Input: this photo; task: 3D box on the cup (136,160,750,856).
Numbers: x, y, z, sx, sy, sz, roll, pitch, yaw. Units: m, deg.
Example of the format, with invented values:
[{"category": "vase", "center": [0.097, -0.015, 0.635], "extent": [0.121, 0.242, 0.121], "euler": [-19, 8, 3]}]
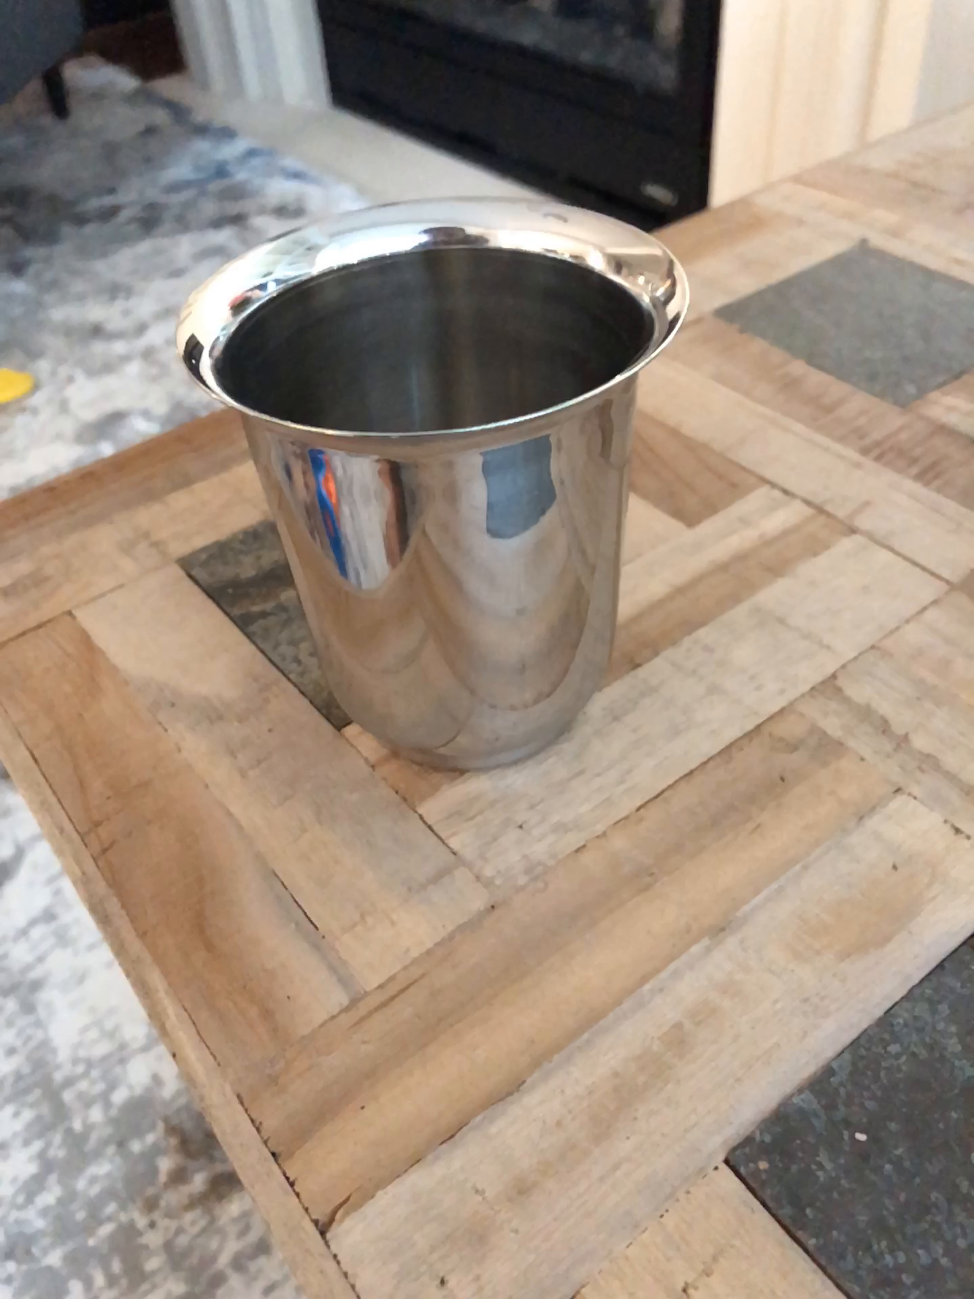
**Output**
[{"category": "cup", "center": [-0.009, -0.028, 0.209], "extent": [0.084, 0.088, 0.083], "euler": [-3, 43, 3]}]
